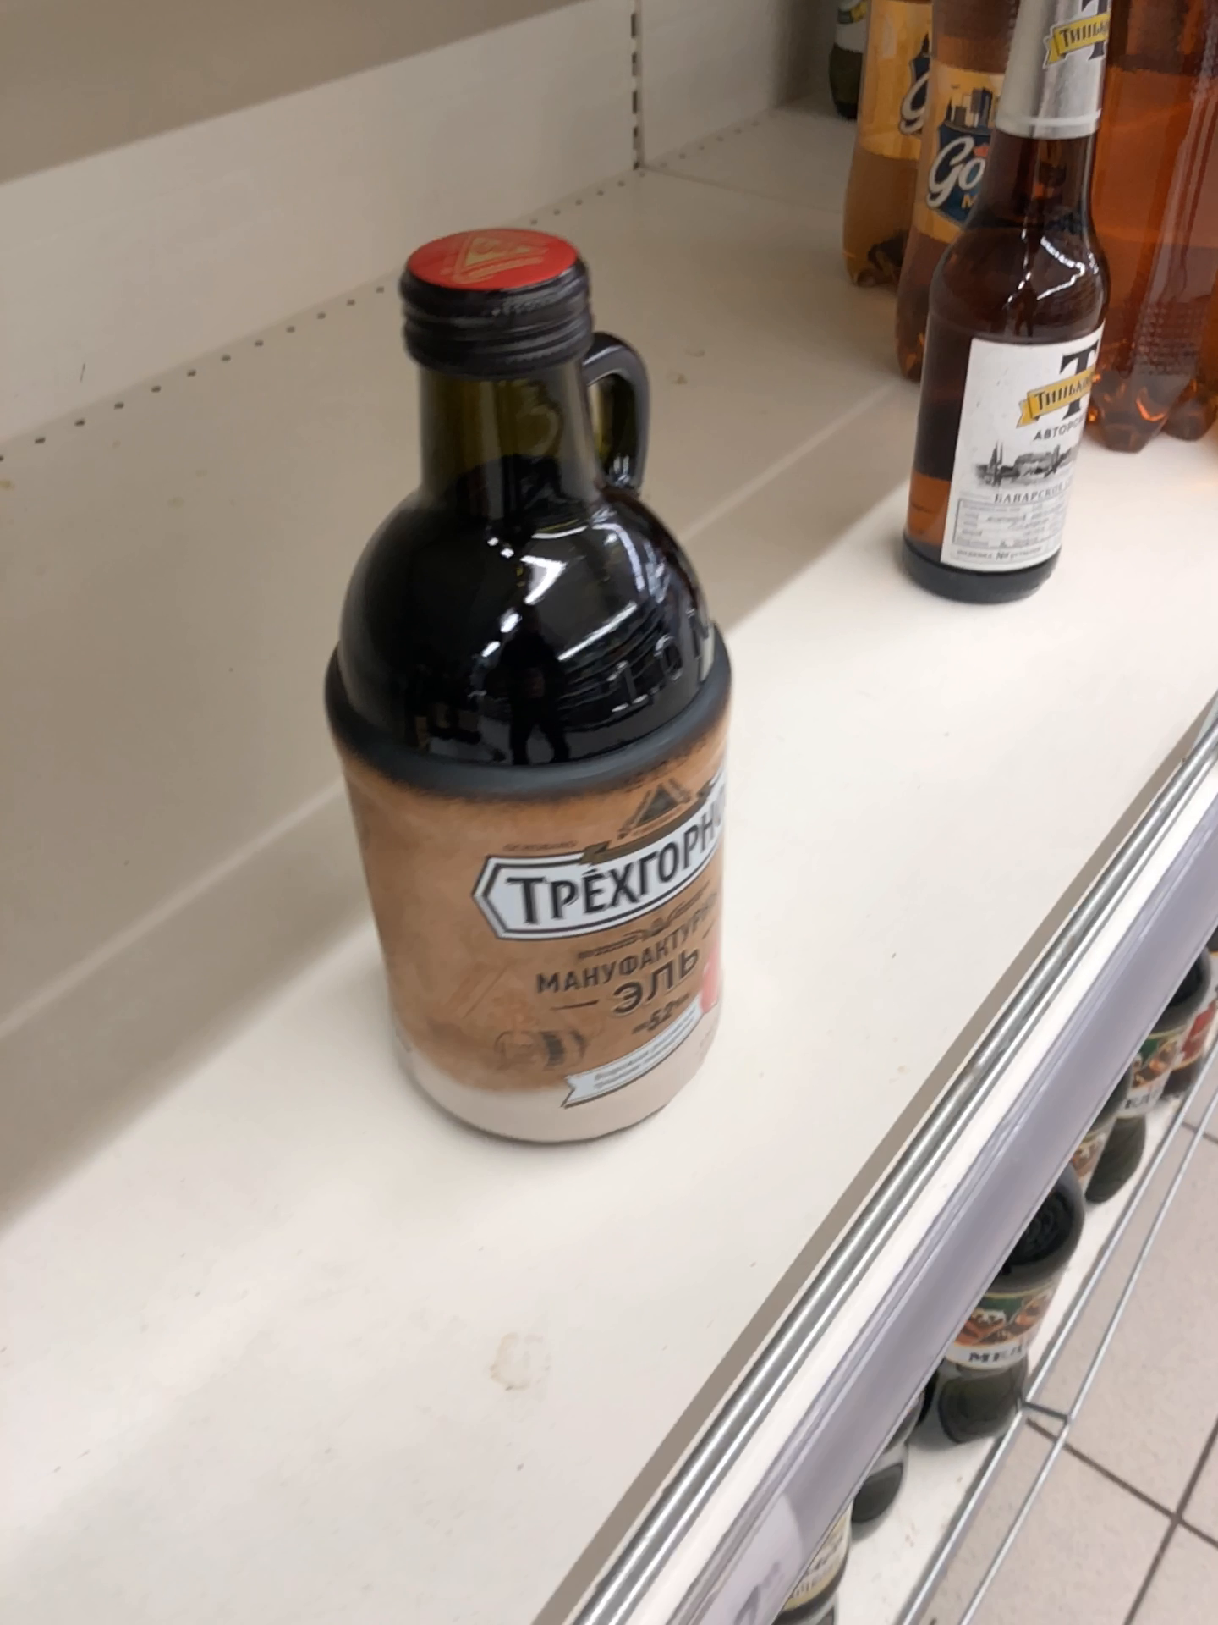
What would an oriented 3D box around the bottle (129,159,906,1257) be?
[{"bbox_3d":[-0.015,-0.018,0.331,0.110,0.225,0.100,-1,42,1],"label":"bottle"}]
